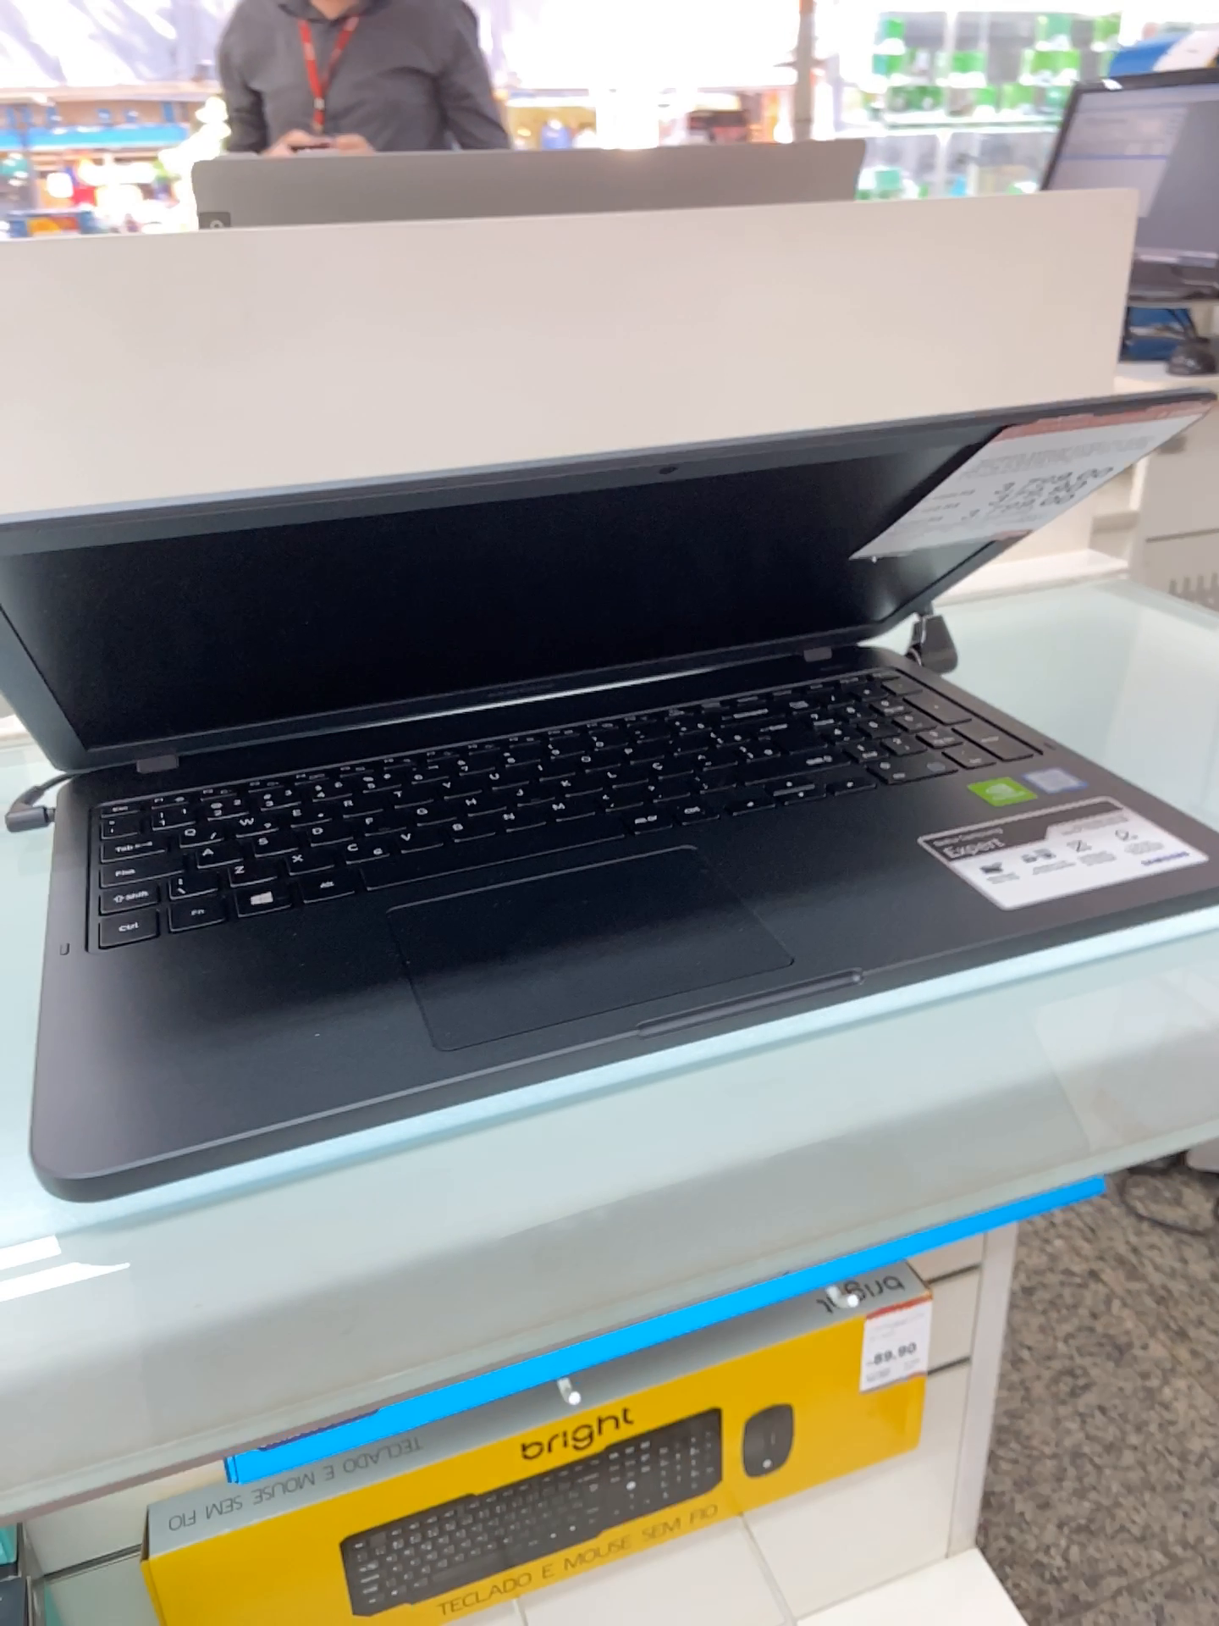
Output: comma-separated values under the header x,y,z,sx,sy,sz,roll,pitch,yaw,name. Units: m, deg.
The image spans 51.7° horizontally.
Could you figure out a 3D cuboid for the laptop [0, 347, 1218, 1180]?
x,y,z,sx,sy,sz,roll,pitch,yaw,name
0.000,-0.059,0.431,0.377,0.140,0.239,-11,29,-18,laptop
